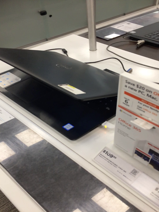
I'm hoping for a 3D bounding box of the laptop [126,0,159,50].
[{"bbox_3d":[0.438,-0.391,0.878,0.293,0.159,0.306,-32,48,-26],"label":"laptop"}]

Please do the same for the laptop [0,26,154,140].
[{"bbox_3d":[-0.069,-0.098,0.591,0.272,0.107,0.388,-35,50,-28],"label":"laptop"}]
